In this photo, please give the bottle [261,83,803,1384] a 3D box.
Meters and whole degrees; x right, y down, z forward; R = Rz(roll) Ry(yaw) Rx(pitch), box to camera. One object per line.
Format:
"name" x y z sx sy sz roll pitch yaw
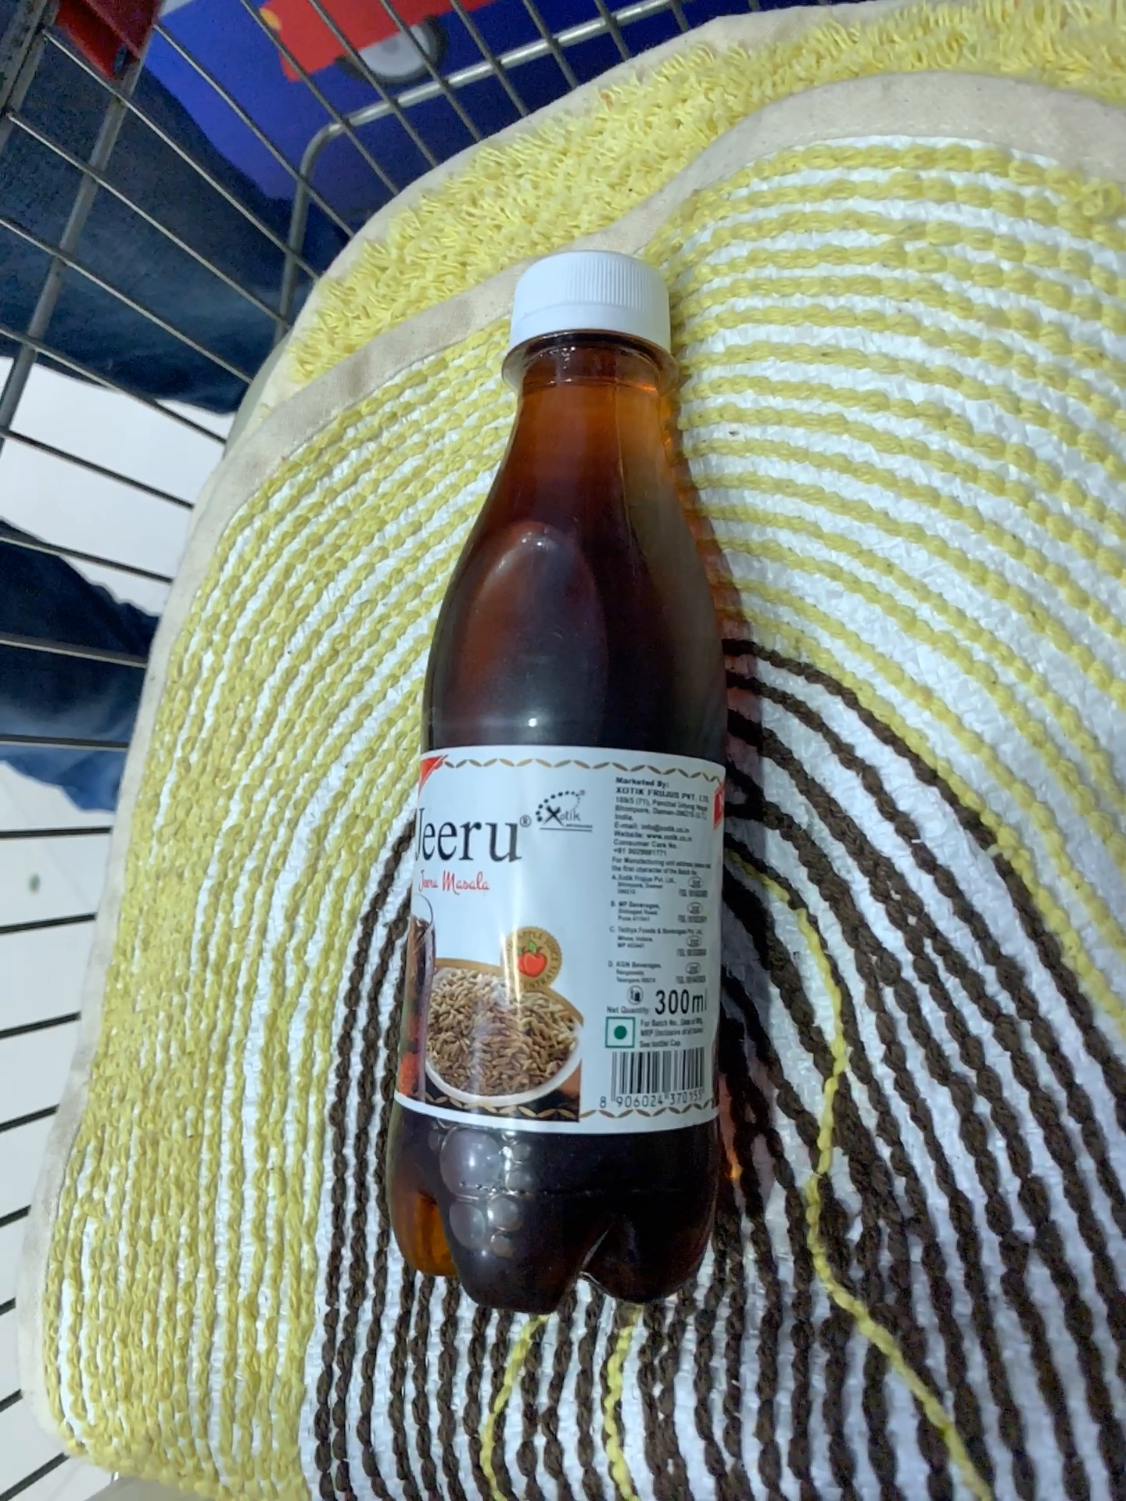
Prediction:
"bottle" -0.002 -0.004 0.202 0.060 0.060 0.180 -2 82 37
